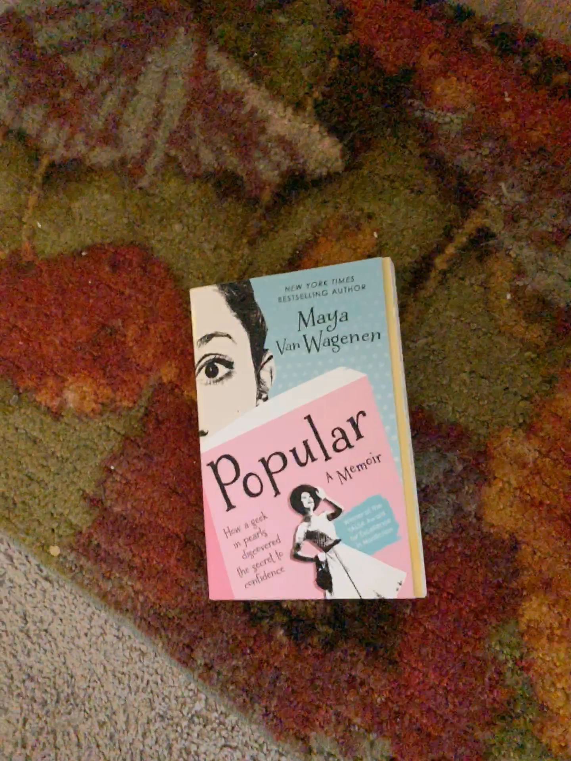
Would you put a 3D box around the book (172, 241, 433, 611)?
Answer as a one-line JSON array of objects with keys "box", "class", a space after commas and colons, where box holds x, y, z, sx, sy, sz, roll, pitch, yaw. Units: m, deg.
[{"box": [0.007, 0.033, 0.385, 0.150, 0.030, 0.220, -7, 83, 16], "class": "book"}]
